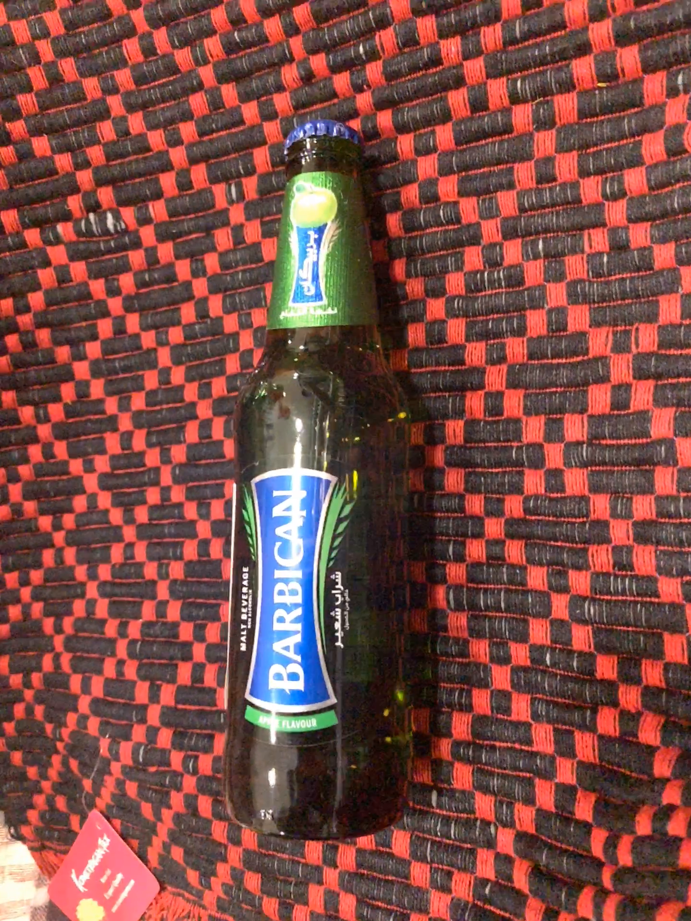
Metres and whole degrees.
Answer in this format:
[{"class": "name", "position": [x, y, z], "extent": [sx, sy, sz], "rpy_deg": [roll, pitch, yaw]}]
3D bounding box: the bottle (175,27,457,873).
[{"class": "bottle", "position": [-0.007, -0.008, 0.236], "extent": [0.070, 0.050, 0.238], "rpy_deg": [-4, 80, 26]}]
